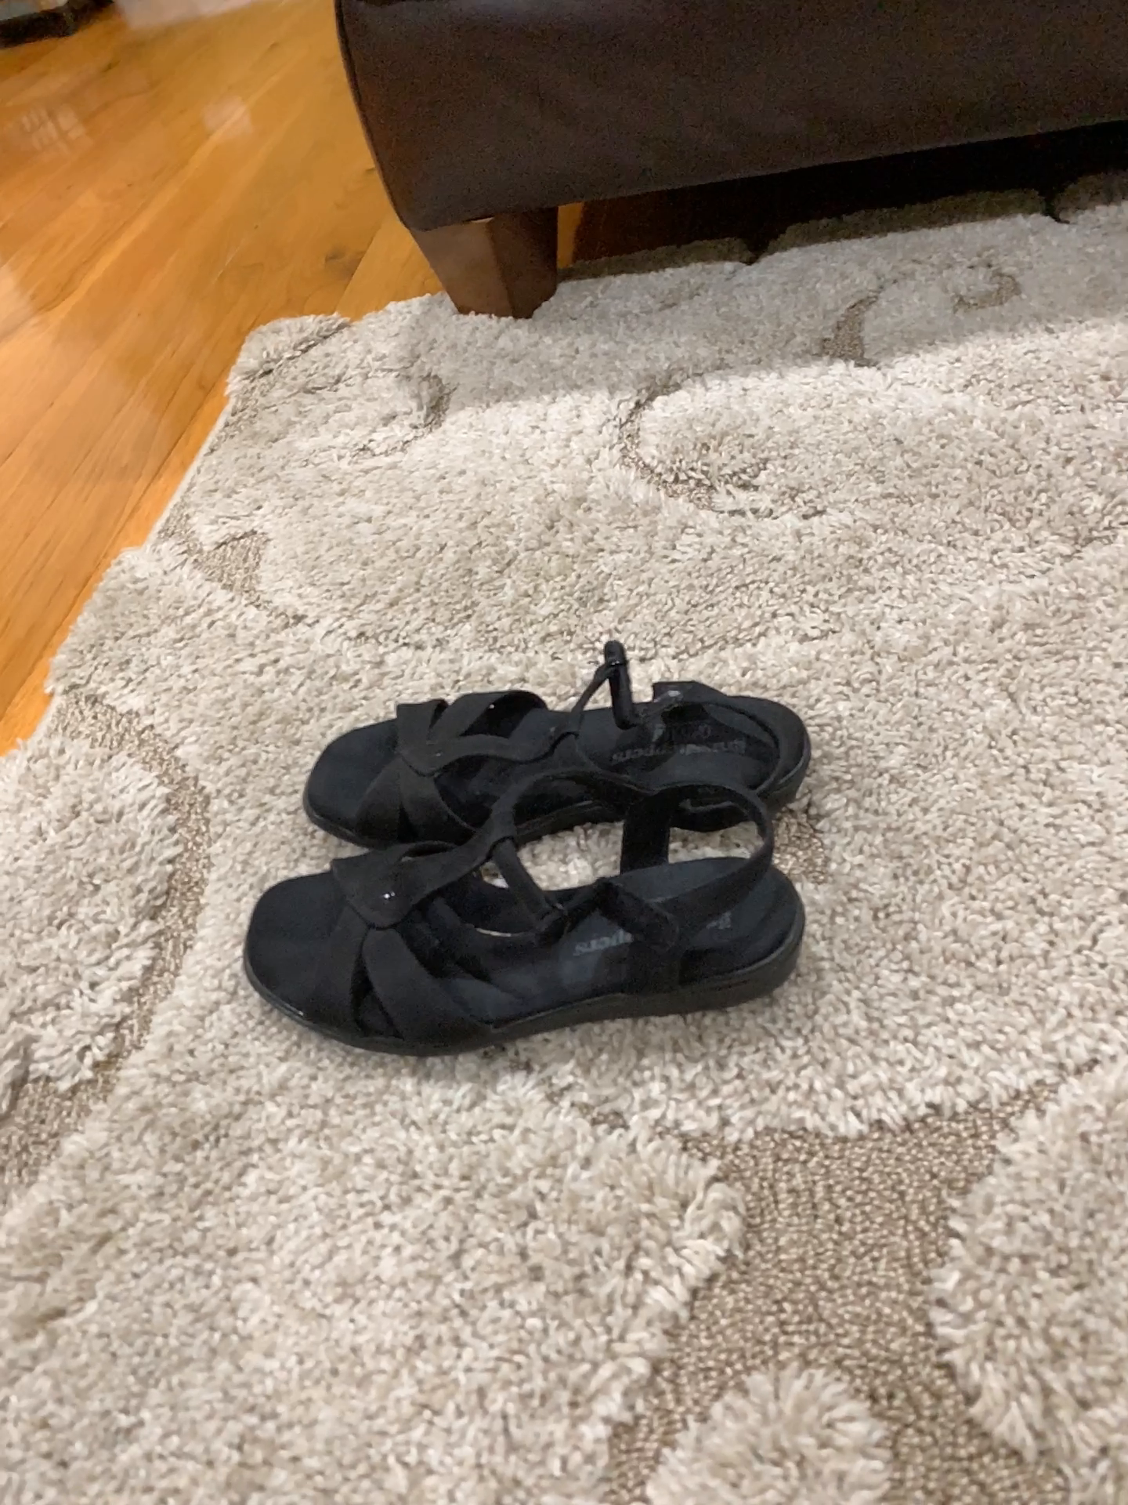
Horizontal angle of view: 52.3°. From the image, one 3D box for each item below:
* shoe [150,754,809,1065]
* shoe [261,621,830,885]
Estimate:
[{"bbox_3d":[-0.027,0.061,0.462,0.241,0.059,0.101,-2,44,14],"label":"shoe"},{"bbox_3d":[-0.003,0.002,0.531,0.241,0.059,0.101,-2,44,14],"label":"shoe"}]
